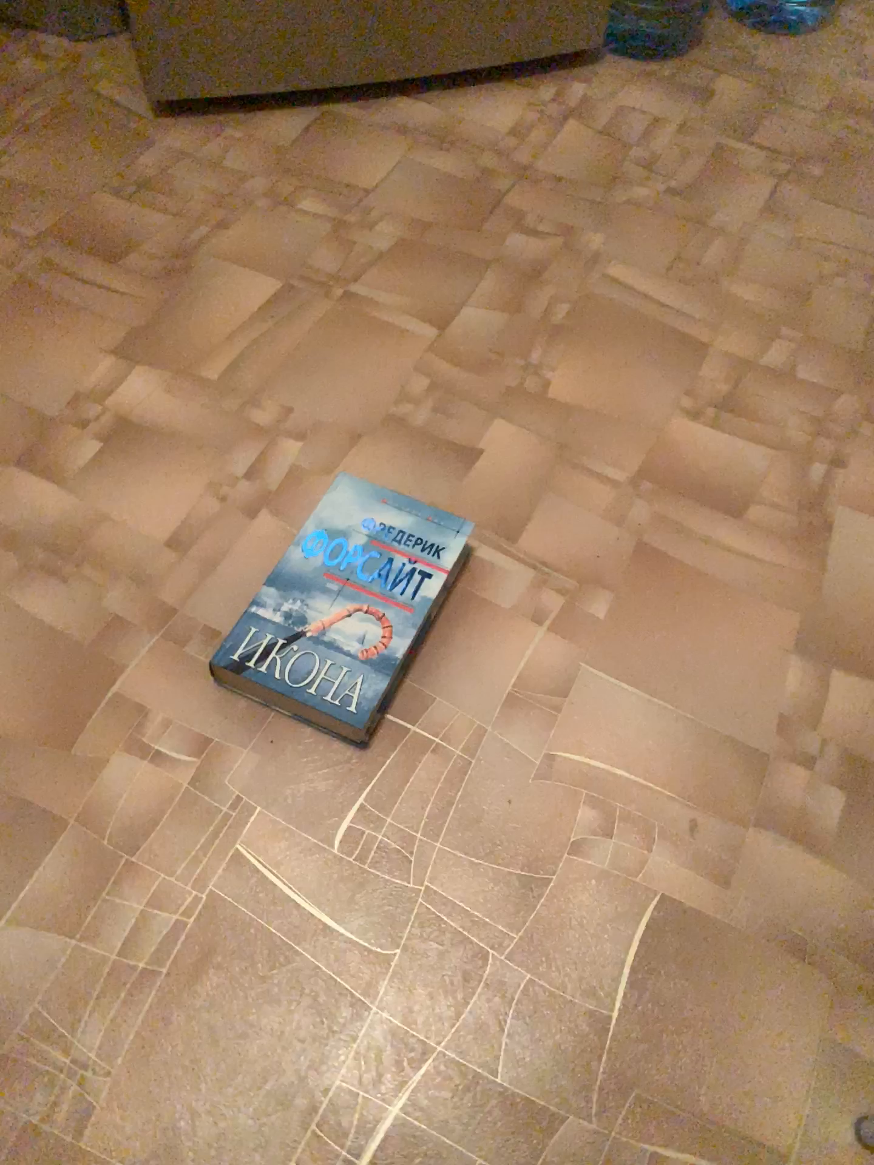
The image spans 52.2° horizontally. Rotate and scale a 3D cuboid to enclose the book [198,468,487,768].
[{"bbox_3d":[-0.074,0.023,0.775,0.152,0.056,0.224,23,60,13],"label":"book"}]
